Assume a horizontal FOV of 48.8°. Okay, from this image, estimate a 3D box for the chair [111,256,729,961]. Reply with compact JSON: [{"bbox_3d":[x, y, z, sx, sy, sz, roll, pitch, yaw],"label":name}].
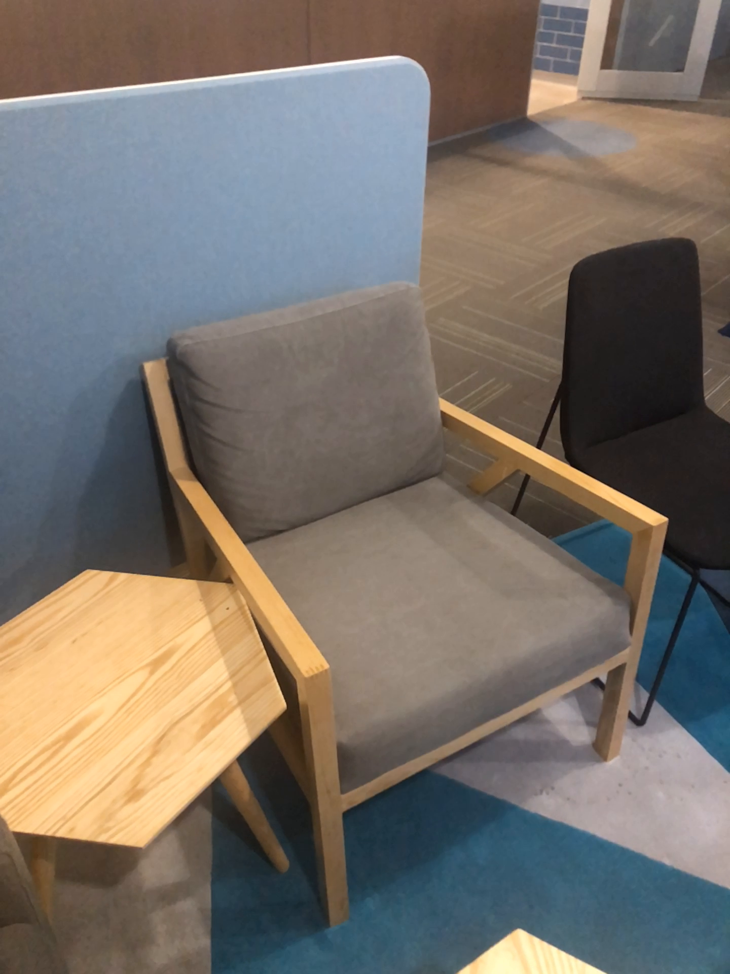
[{"bbox_3d":[0.066,0.133,1.502,0.713,0.744,0.843,-19,41,-24],"label":"chair"}]
